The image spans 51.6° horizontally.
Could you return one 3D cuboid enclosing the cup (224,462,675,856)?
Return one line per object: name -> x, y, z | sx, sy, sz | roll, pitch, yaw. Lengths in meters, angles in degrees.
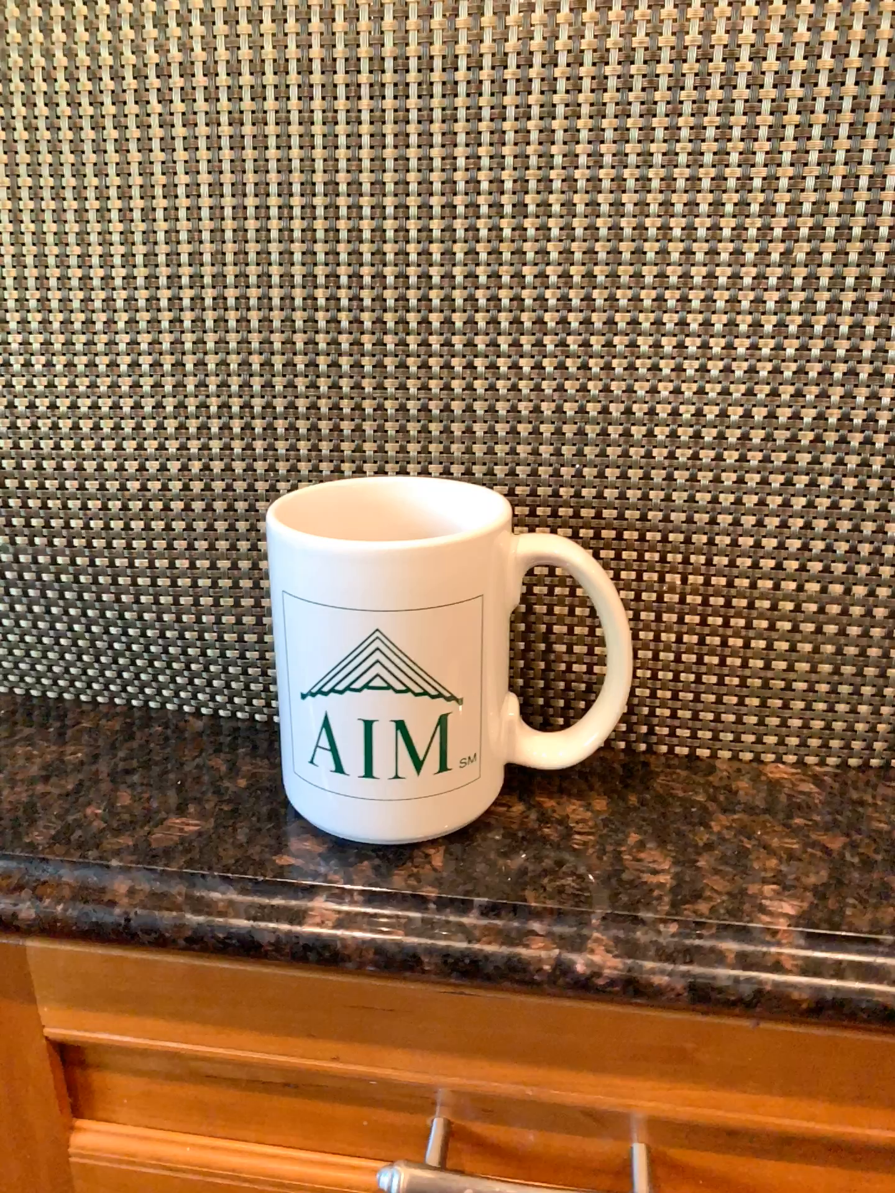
cup -> 0.000, 0.017, 0.328 | 0.130, 0.109, 0.090 | 0, 21, -1
